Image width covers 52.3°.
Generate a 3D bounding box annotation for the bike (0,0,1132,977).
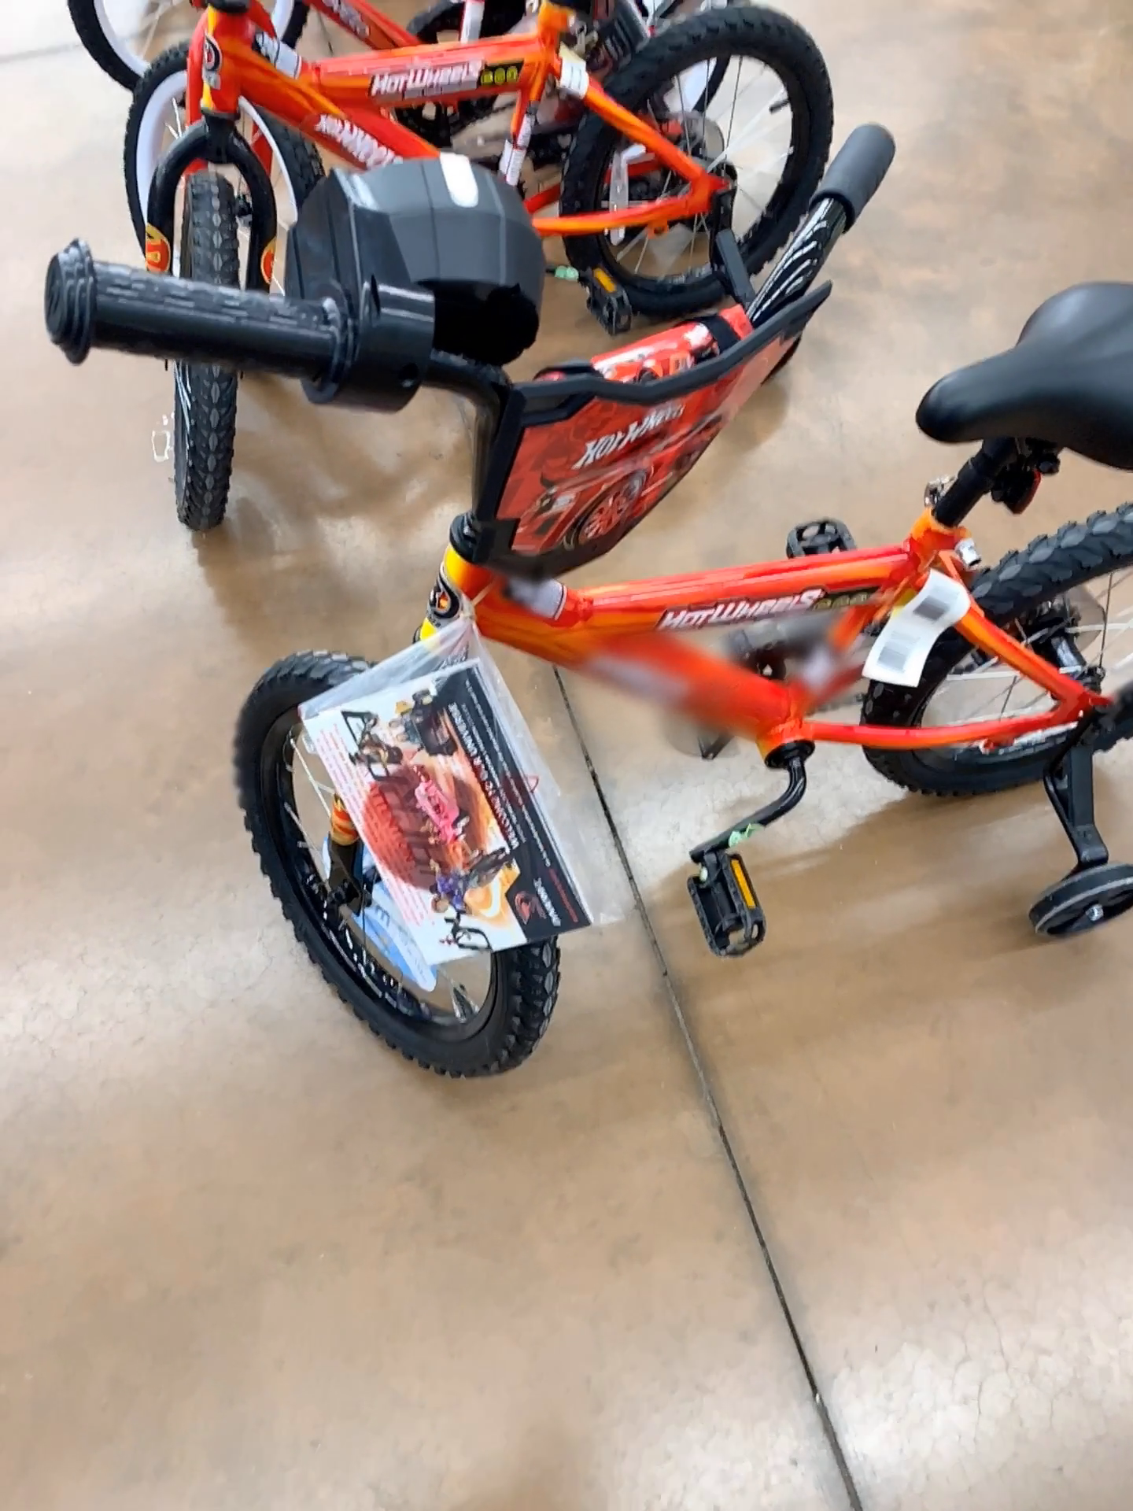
[{"bbox_3d":[0.138,-0.237,1.017,0.994,0.822,0.504,-10,58,2],"label":"bike"}]
